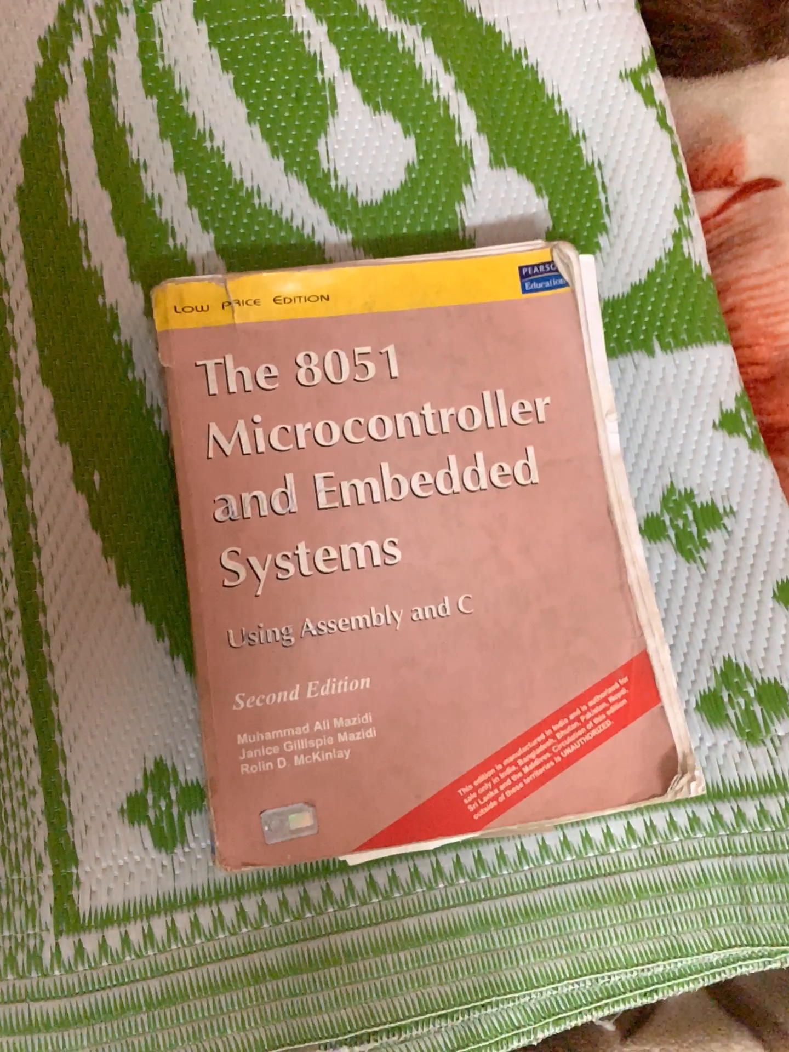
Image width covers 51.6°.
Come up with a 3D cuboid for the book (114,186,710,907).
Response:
[{"bbox_3d":[0.002,0.002,0.397,0.230,0.050,0.300,-8,83,-3],"label":"book"}]
